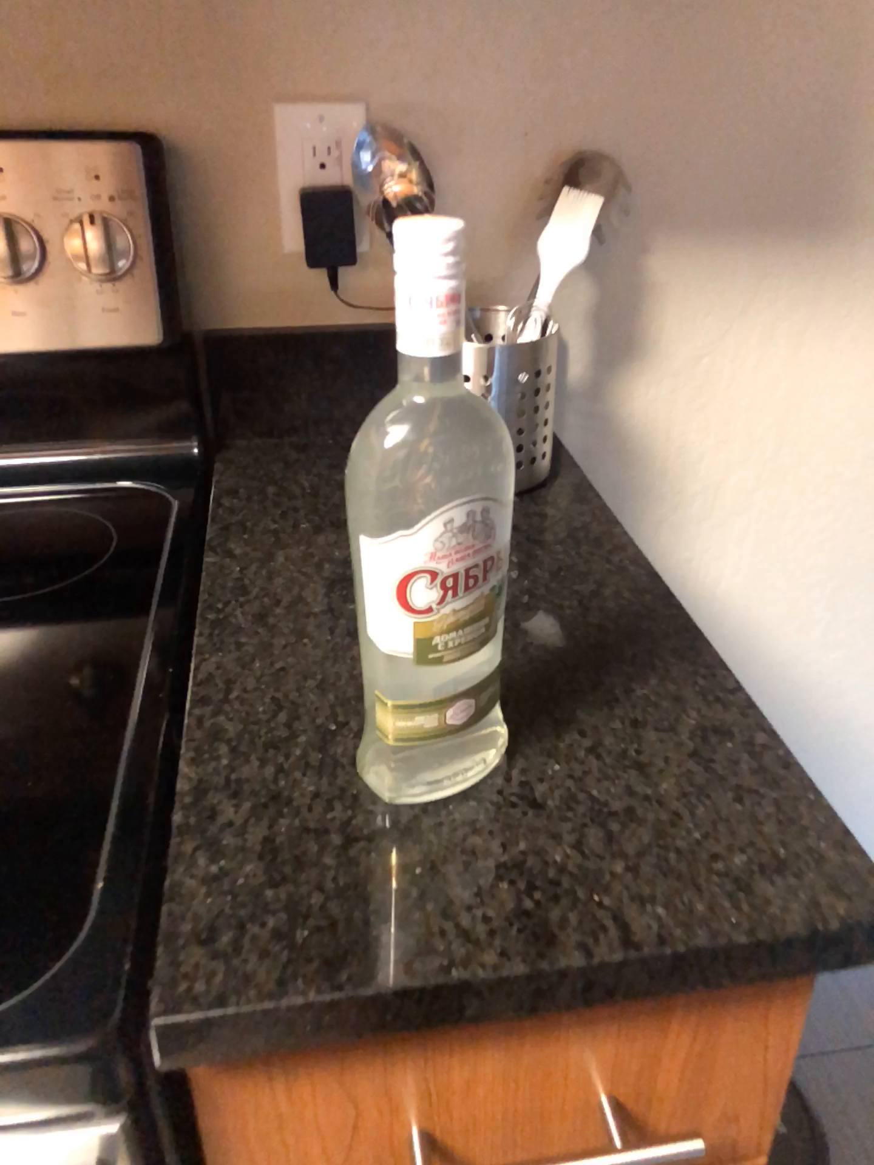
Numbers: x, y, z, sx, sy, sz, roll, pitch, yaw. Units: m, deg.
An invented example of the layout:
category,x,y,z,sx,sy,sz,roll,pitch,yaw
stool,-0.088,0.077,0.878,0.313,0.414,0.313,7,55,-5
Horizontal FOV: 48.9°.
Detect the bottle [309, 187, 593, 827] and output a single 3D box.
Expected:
category,x,y,z,sx,sy,sz,roll,pitch,yaw
bottle,0.005,-0.027,0.429,0.090,0.269,0.060,-15,32,-25
